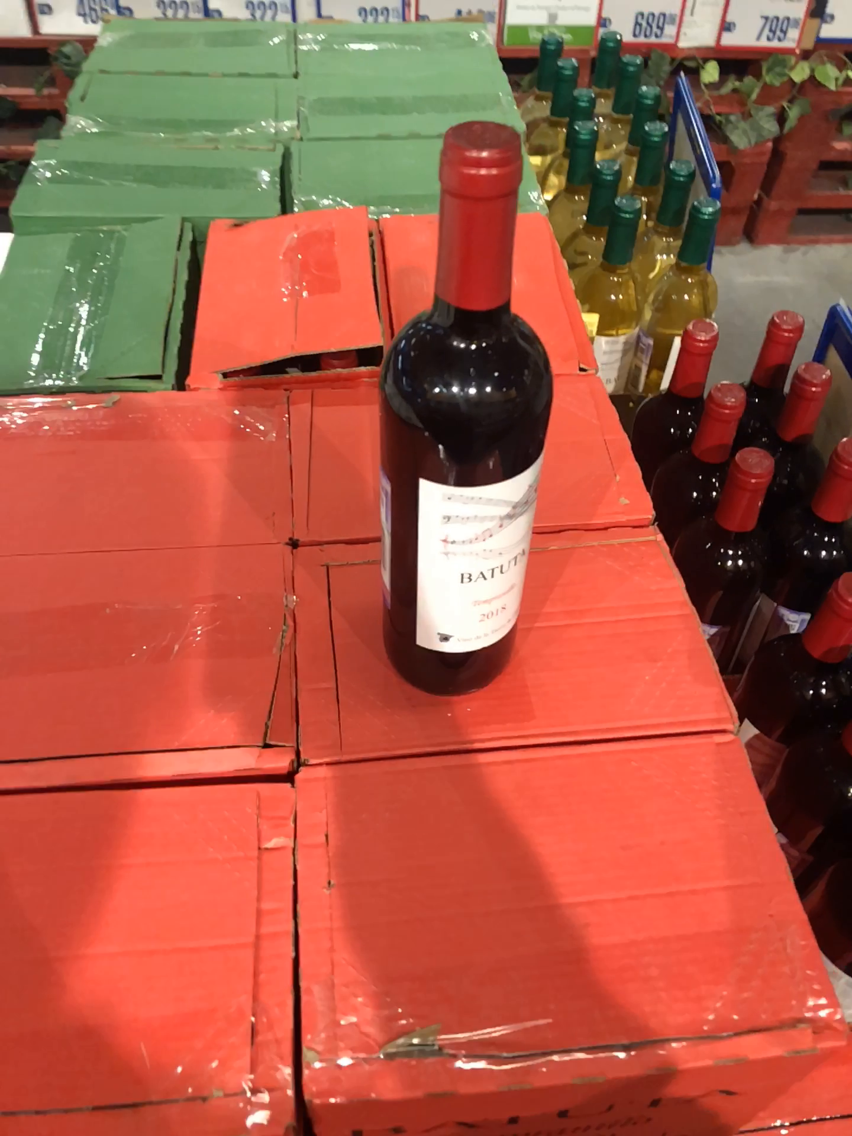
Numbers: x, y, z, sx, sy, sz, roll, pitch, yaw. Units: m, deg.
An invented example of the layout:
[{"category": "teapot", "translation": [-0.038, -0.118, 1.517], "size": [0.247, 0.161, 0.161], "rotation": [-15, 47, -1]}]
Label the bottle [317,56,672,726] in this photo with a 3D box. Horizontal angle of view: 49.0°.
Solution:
[{"category": "bottle", "translation": [0.017, -0.056, 0.424], "size": [0.090, 0.287, 0.080], "rotation": [-29, 56, -25]}]
